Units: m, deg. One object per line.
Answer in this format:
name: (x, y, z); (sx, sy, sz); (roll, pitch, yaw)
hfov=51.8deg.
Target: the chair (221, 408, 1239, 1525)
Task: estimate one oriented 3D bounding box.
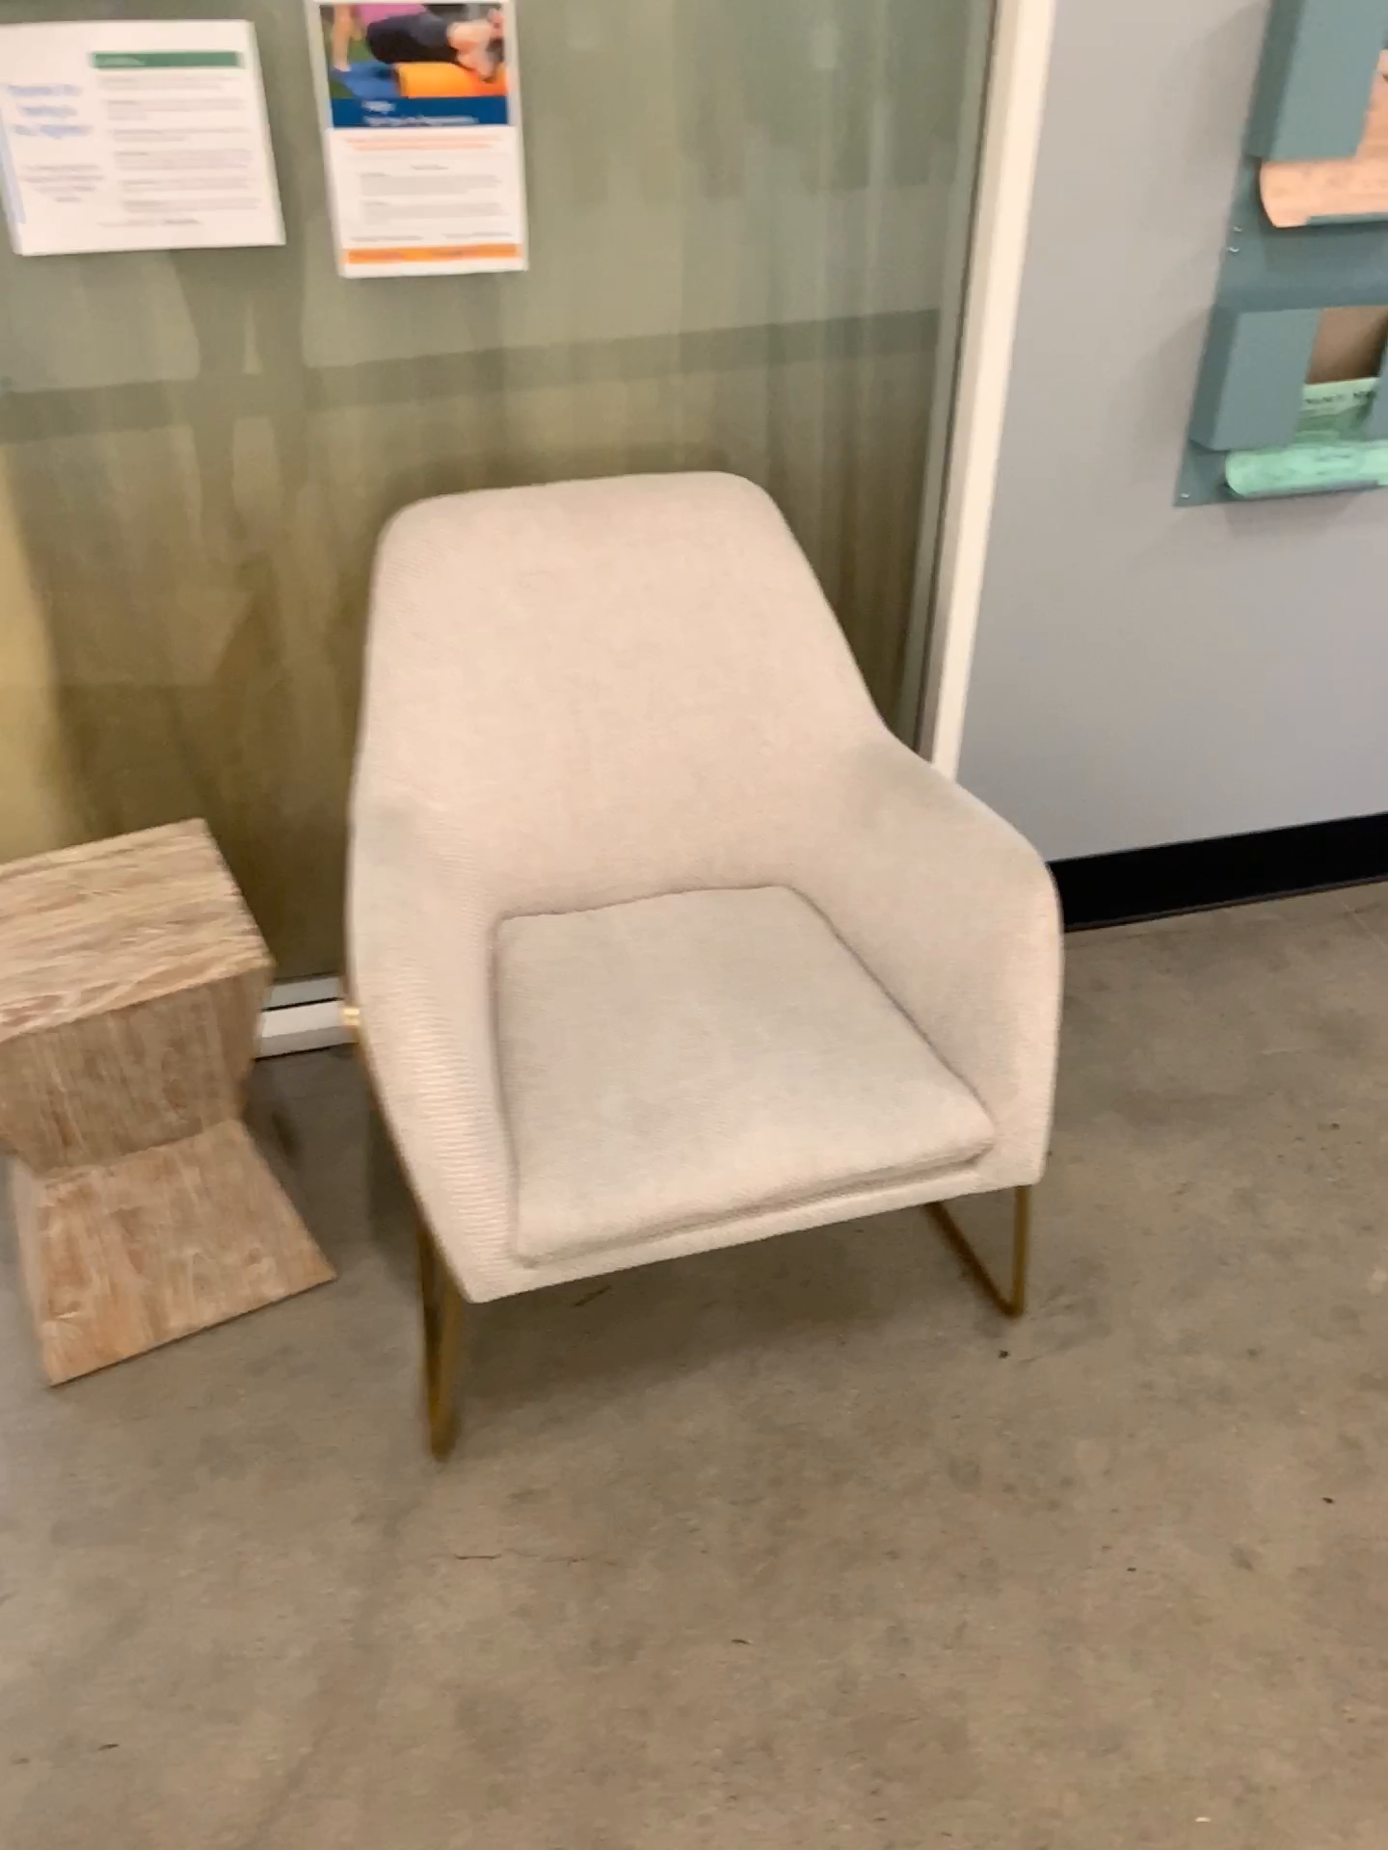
chair: (-0.041, -0.011, 1.637); (0.780, 0.865, 0.775); (-10, 37, -15)
